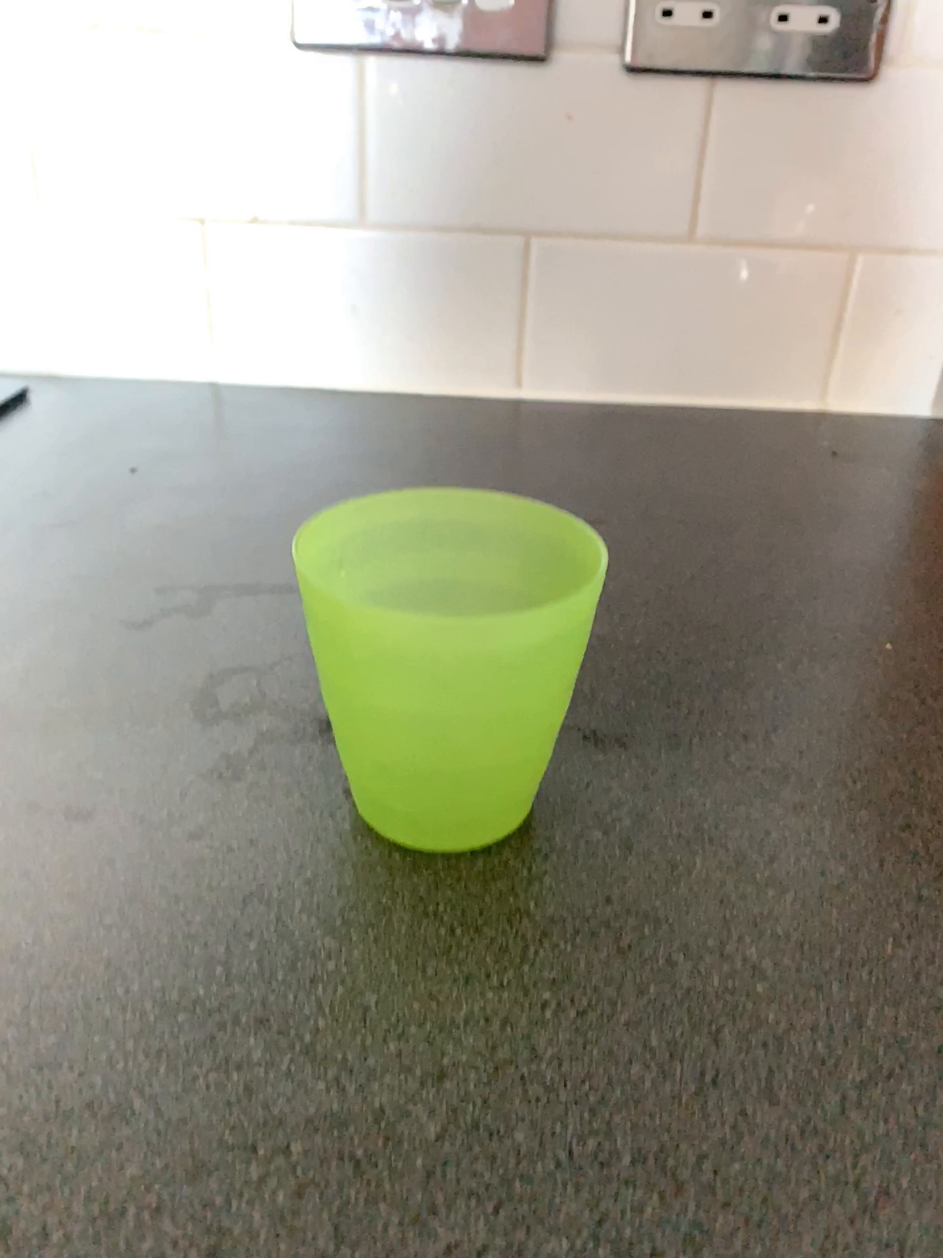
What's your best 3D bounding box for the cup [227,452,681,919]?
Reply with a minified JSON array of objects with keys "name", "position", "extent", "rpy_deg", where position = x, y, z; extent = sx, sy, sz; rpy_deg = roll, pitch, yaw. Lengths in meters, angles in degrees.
[{"name":"cup","position":[-0.008,0.009,0.272],"extent":[0.090,0.081,0.078],"rpy_deg":[-15,35,-29]}]
